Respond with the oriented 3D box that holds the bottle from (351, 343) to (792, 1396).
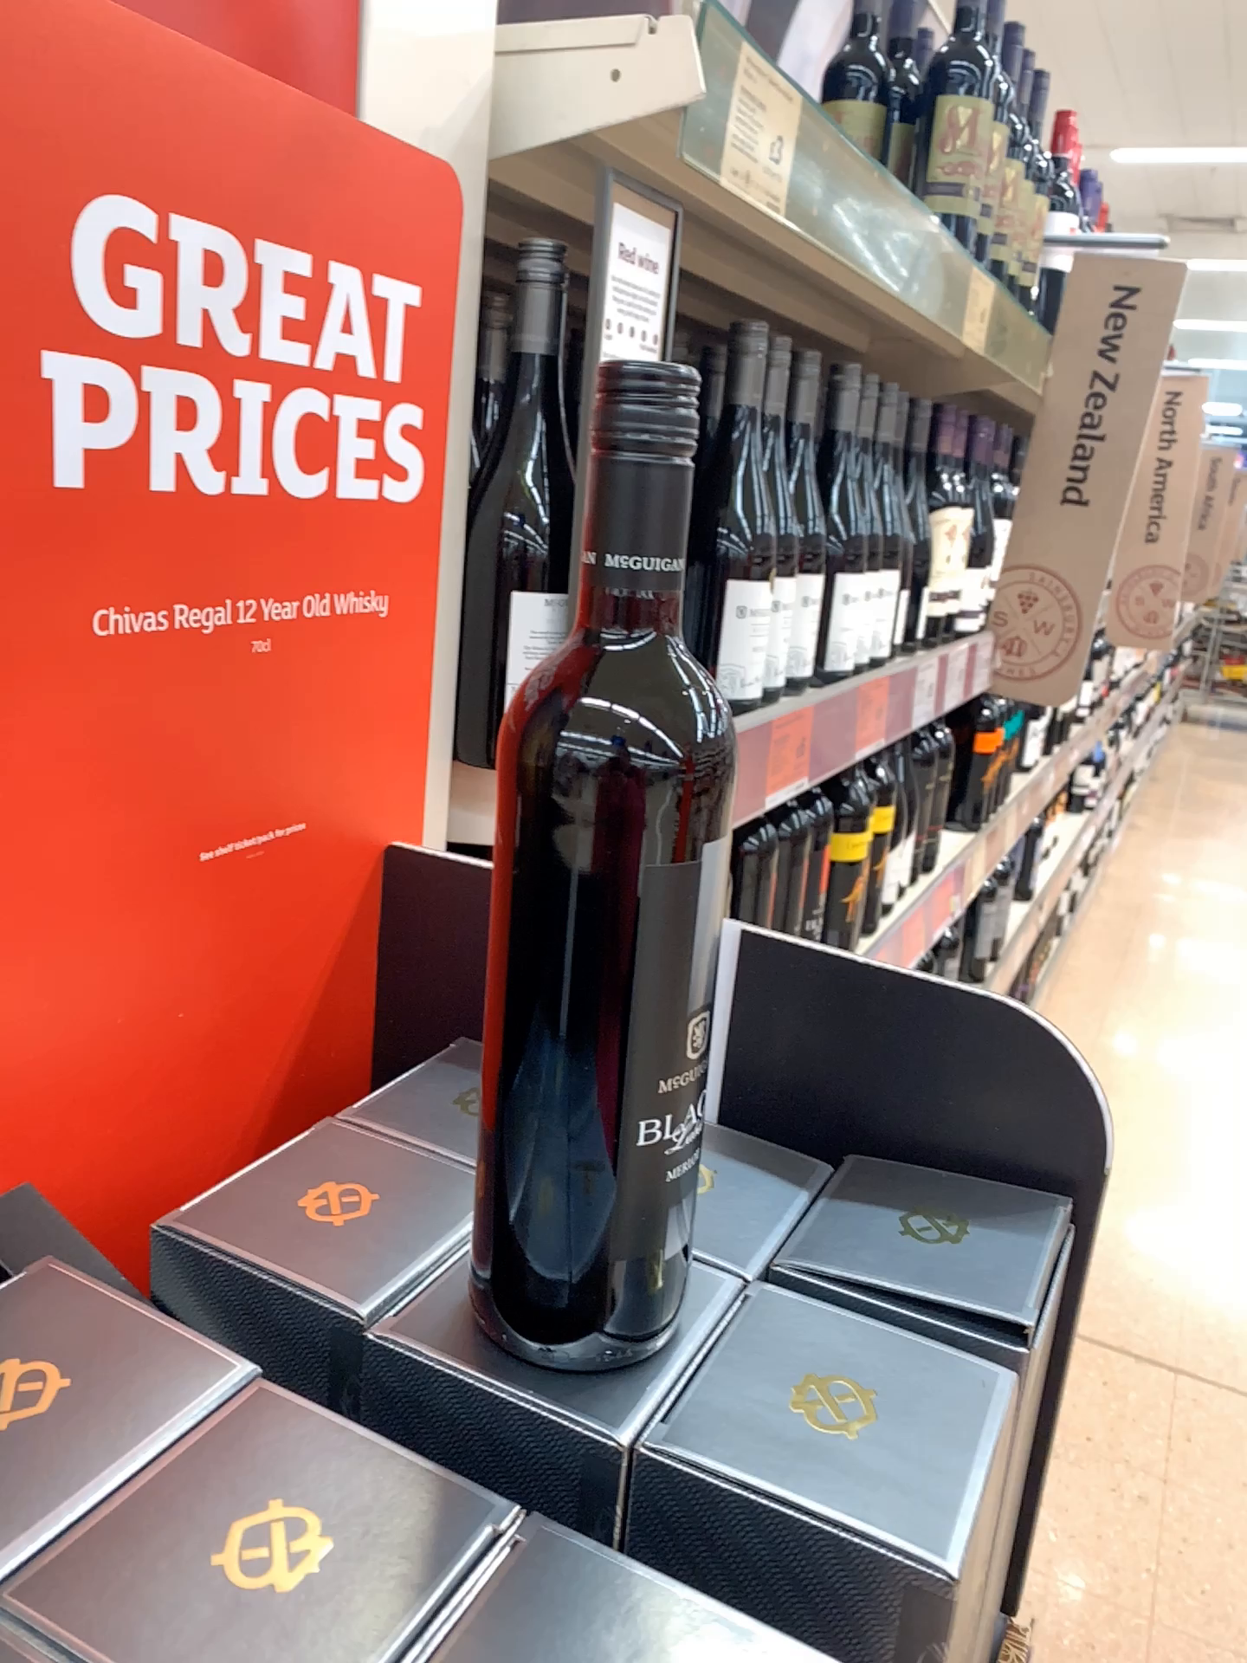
[{"bbox_3d":[-0.021,0.010,0.388,0.080,0.288,0.070,17,18,37],"label":"bottle"}]
